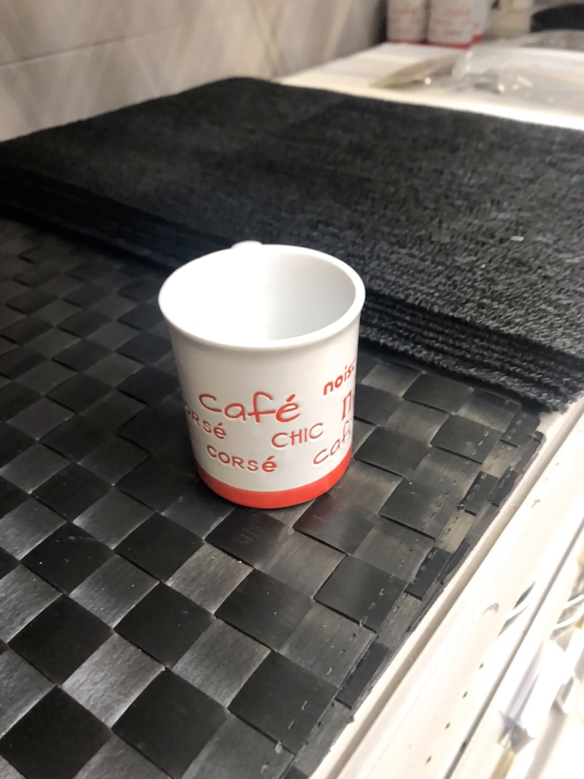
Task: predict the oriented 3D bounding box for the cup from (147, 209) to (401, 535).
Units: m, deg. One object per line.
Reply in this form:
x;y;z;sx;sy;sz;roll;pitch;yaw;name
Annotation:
-0.012;-0.012;0.234;0.067;0.064;0.097;-8;38;-8;cup
